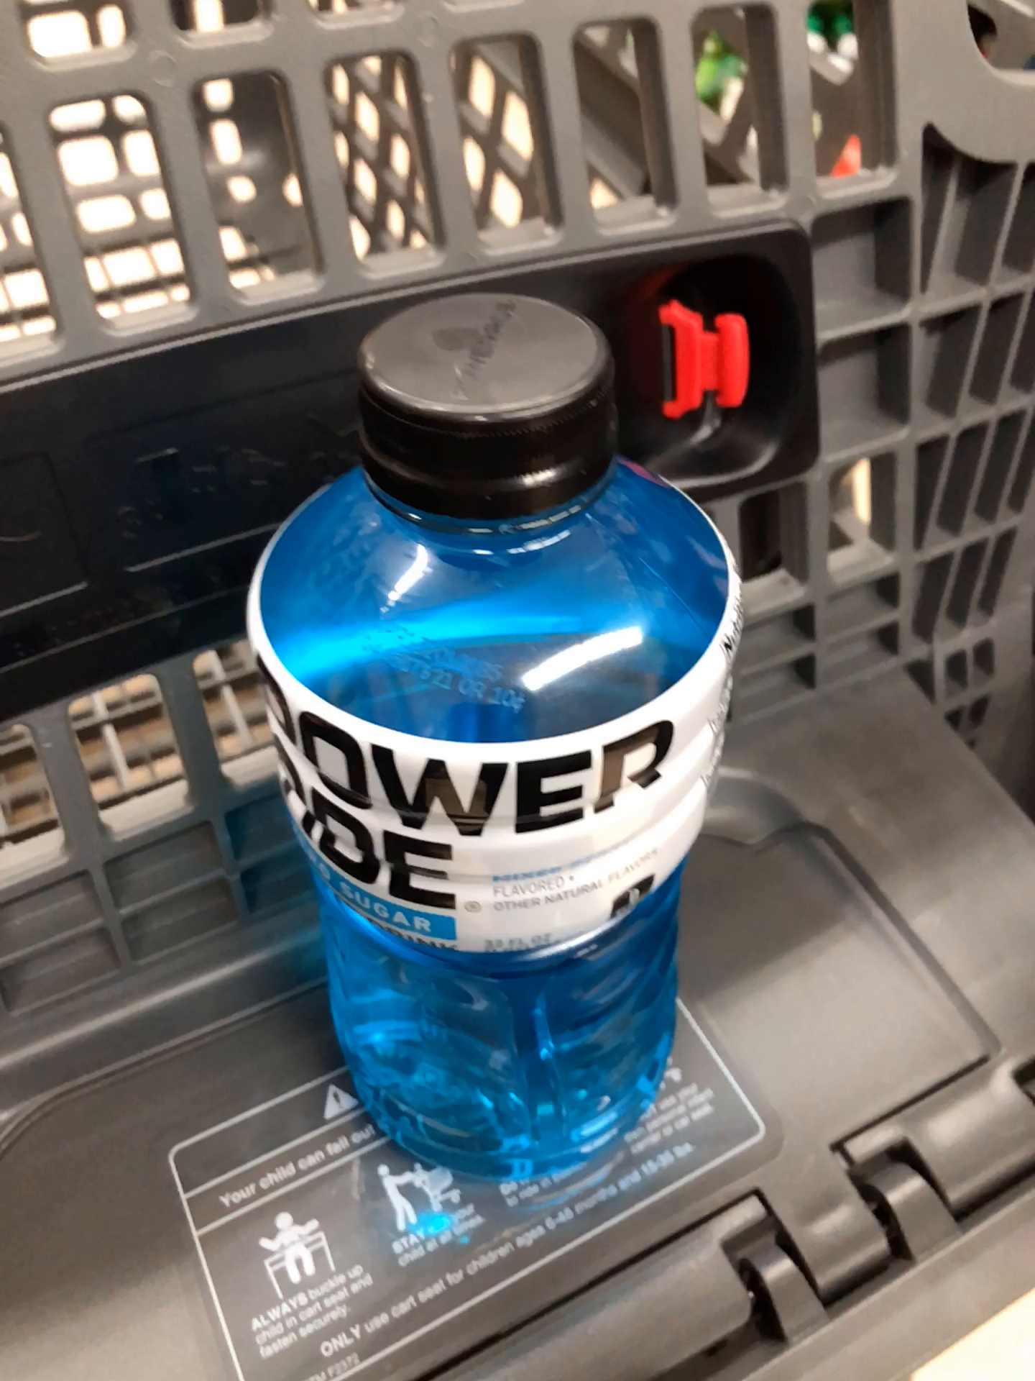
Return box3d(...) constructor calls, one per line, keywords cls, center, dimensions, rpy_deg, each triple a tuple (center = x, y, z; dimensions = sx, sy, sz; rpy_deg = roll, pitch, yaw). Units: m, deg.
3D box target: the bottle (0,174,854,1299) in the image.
box3d(cls="bottle", center=(-0.005, 0.023, 0.256), dimensions=(0.100, 0.220, 0.100), rpy_deg=(-2, 43, 2))
